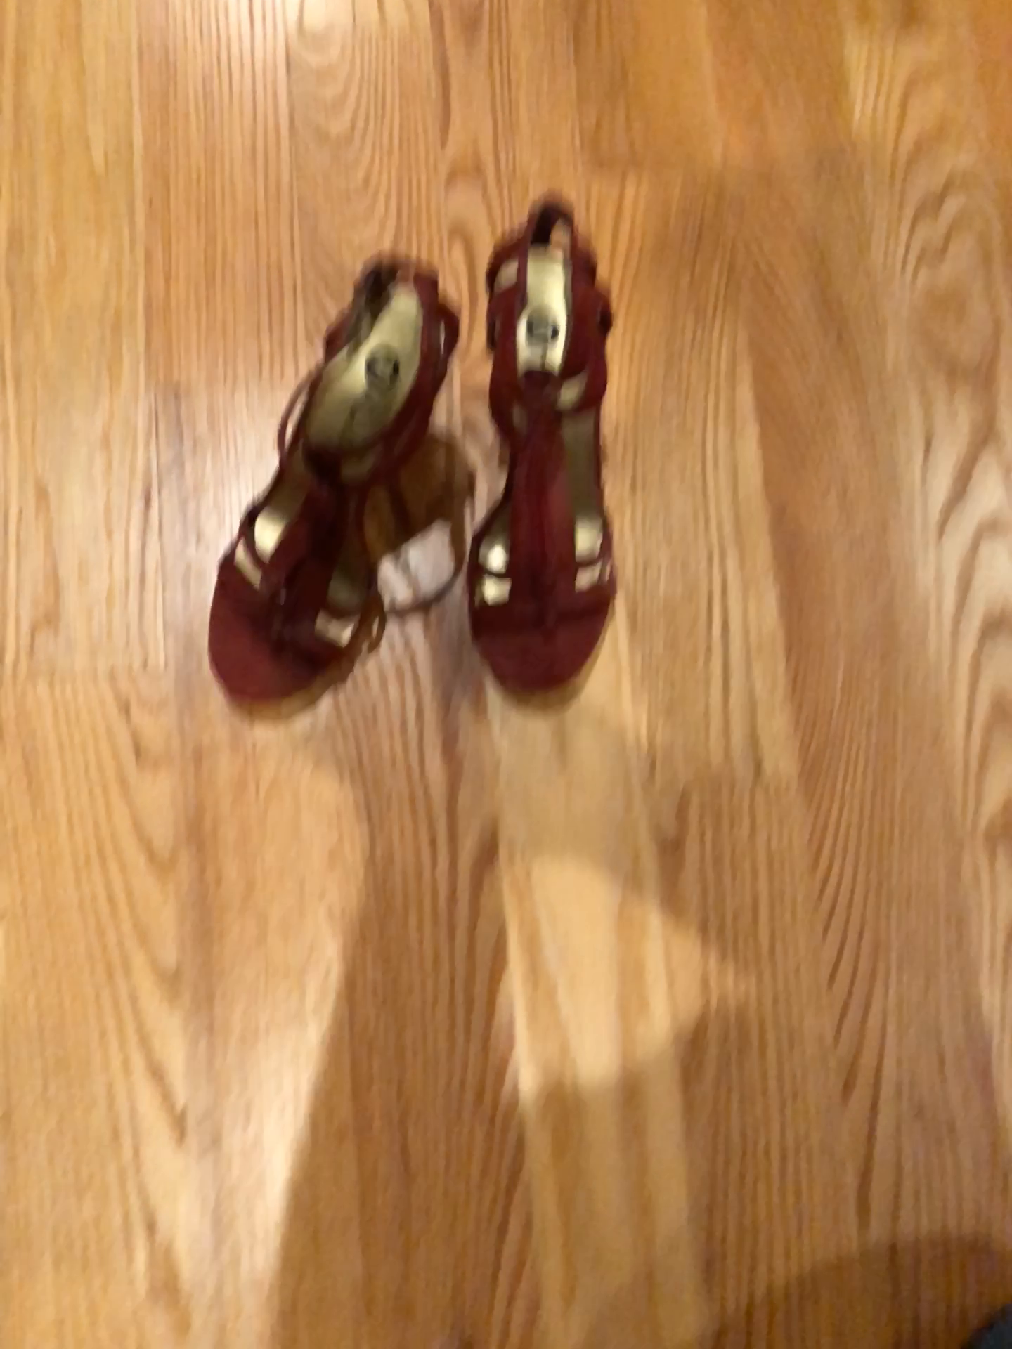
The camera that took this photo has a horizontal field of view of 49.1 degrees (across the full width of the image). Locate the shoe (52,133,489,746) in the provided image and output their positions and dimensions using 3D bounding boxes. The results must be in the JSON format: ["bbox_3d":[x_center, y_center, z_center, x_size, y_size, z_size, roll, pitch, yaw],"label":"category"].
[{"bbox_3d":[-0.089,-0.085,0.490,0.085,0.176,0.199,22,79,-1],"label":"shoe"}]

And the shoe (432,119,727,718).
[{"bbox_3d":[0.020,-0.097,0.497,0.085,0.176,0.206,-5,81,-6],"label":"shoe"}]
